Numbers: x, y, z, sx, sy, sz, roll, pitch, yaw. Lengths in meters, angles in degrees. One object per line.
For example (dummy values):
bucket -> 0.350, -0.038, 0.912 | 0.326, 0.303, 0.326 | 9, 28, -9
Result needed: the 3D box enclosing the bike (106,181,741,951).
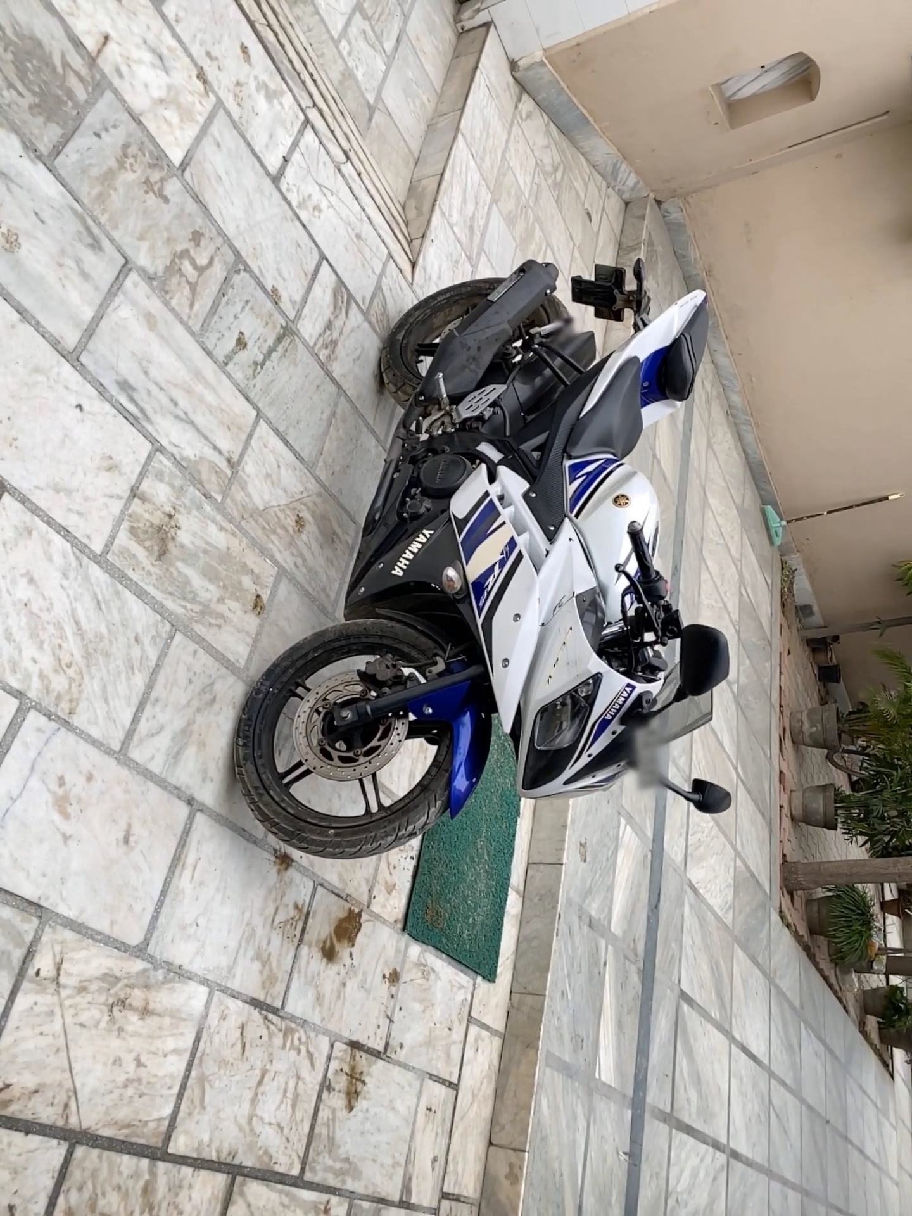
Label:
bike -> 0.092, -0.153, 2.507 | 0.736, 0.902, 1.885 | 54, 45, -43
